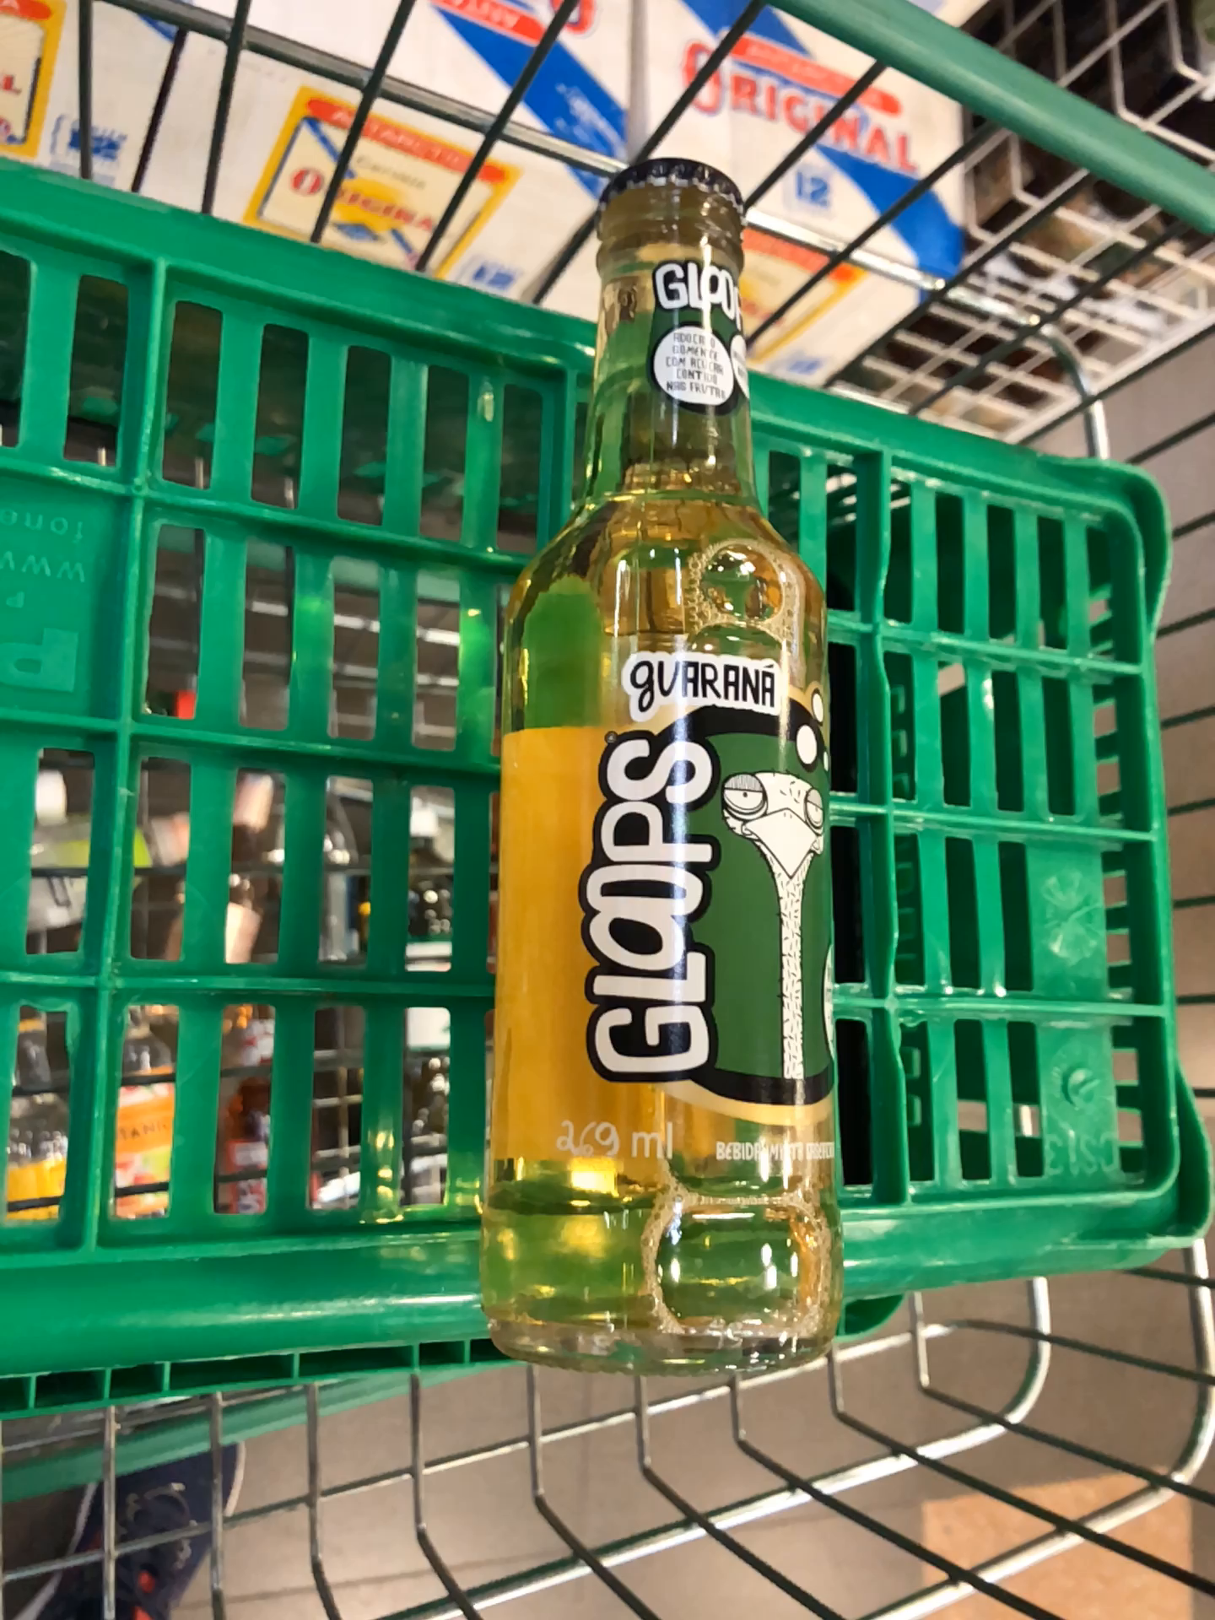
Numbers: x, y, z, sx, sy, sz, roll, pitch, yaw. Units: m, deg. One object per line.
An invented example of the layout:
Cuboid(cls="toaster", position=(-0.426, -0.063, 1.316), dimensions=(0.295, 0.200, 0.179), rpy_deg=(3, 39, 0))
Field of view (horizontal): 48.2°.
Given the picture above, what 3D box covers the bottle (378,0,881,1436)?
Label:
Cuboid(cls="bottle", position=(0.005, -0.022, 0.227), dimensions=(0.060, 0.050, 0.220), rpy_deg=(7, 78, -27))
